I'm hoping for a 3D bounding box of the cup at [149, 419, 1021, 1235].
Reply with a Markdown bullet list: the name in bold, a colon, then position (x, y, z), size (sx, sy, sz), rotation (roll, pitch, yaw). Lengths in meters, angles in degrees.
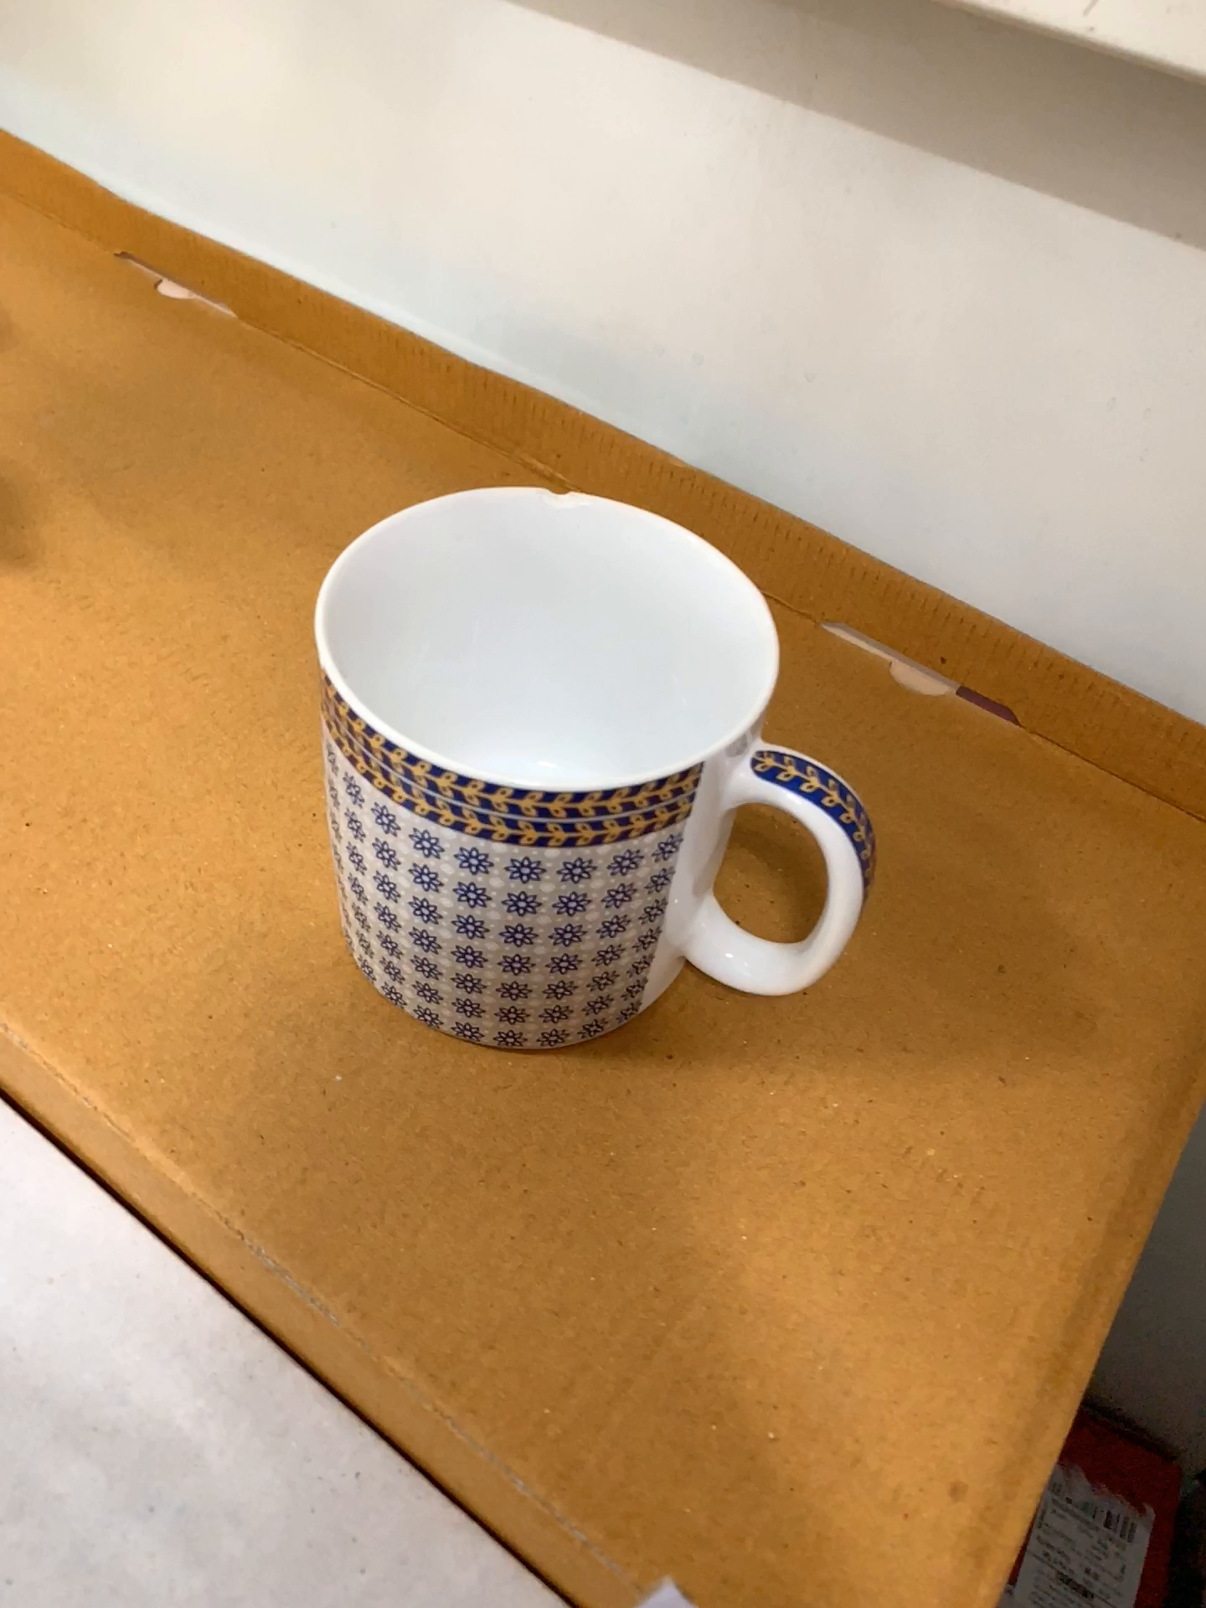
- **cup**: position (-0.002, -0.001, 0.215), size (0.110, 0.069, 0.081), rotation (24, 46, 13)
